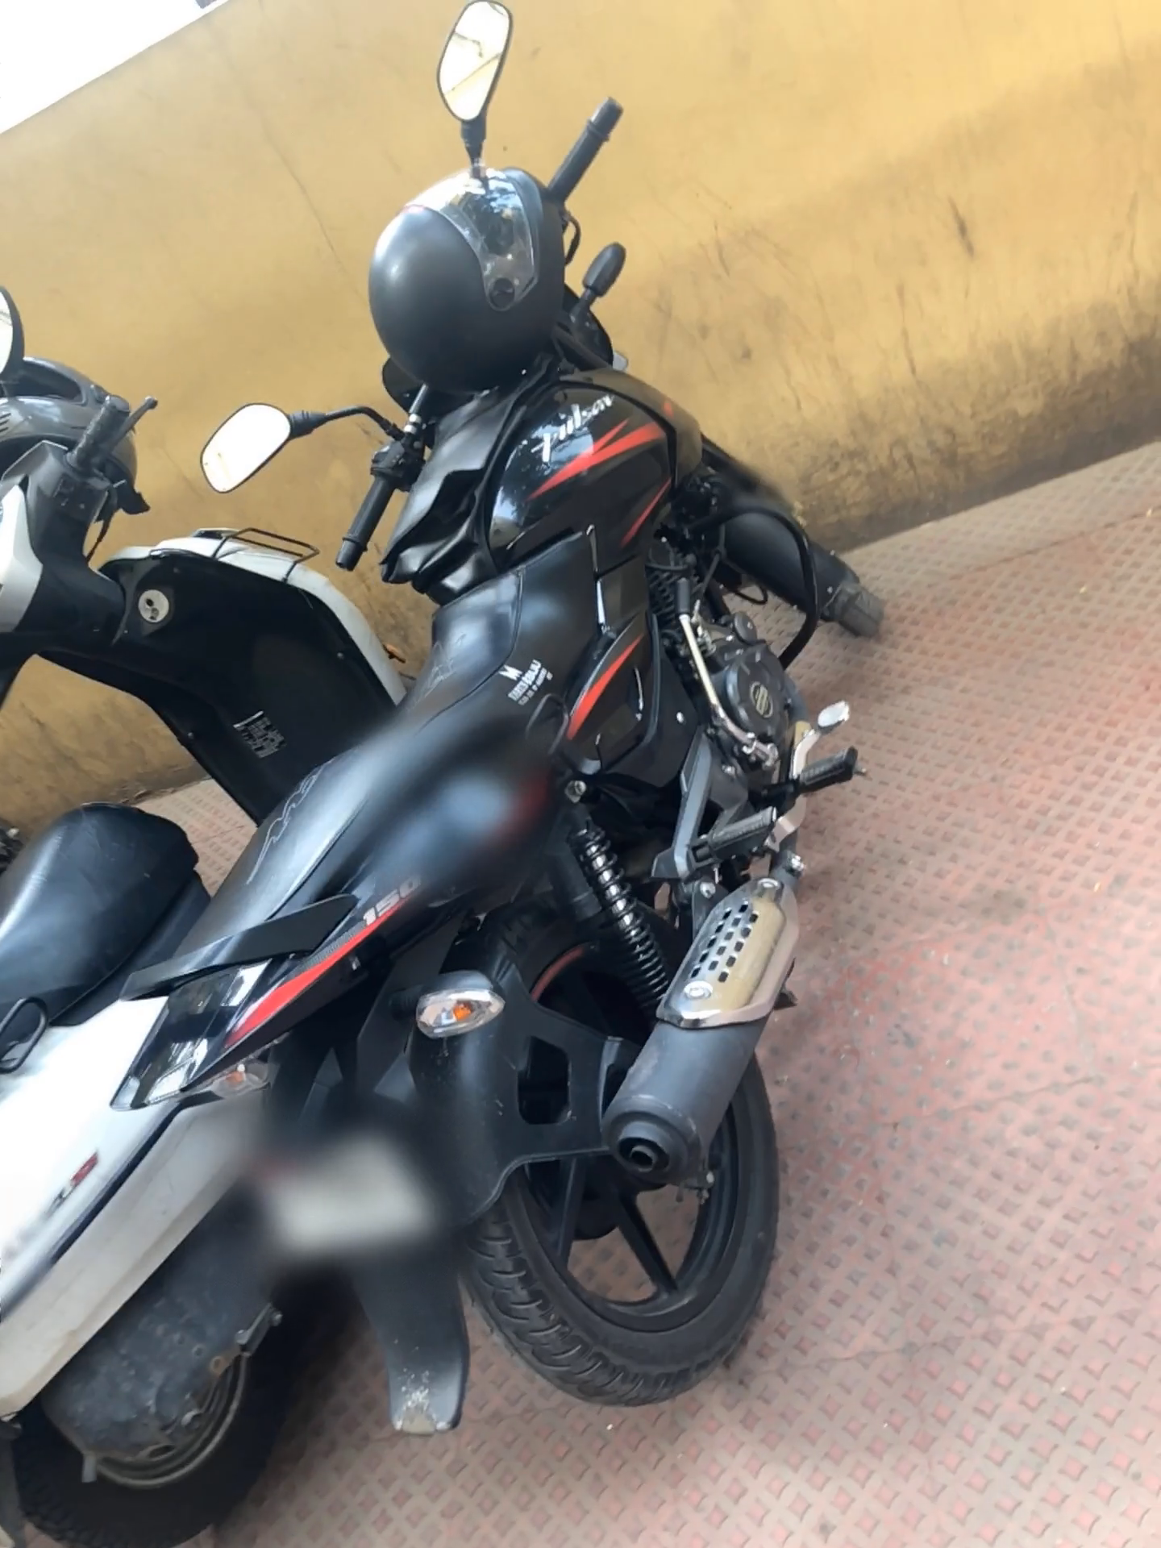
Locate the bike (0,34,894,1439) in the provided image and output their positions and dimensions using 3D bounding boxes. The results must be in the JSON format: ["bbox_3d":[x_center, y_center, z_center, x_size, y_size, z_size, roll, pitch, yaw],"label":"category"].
[{"bbox_3d":[-0.202,-0.127,1.819,0.827,1.057,1.611,-16,39,21],"label":"bike"}]
